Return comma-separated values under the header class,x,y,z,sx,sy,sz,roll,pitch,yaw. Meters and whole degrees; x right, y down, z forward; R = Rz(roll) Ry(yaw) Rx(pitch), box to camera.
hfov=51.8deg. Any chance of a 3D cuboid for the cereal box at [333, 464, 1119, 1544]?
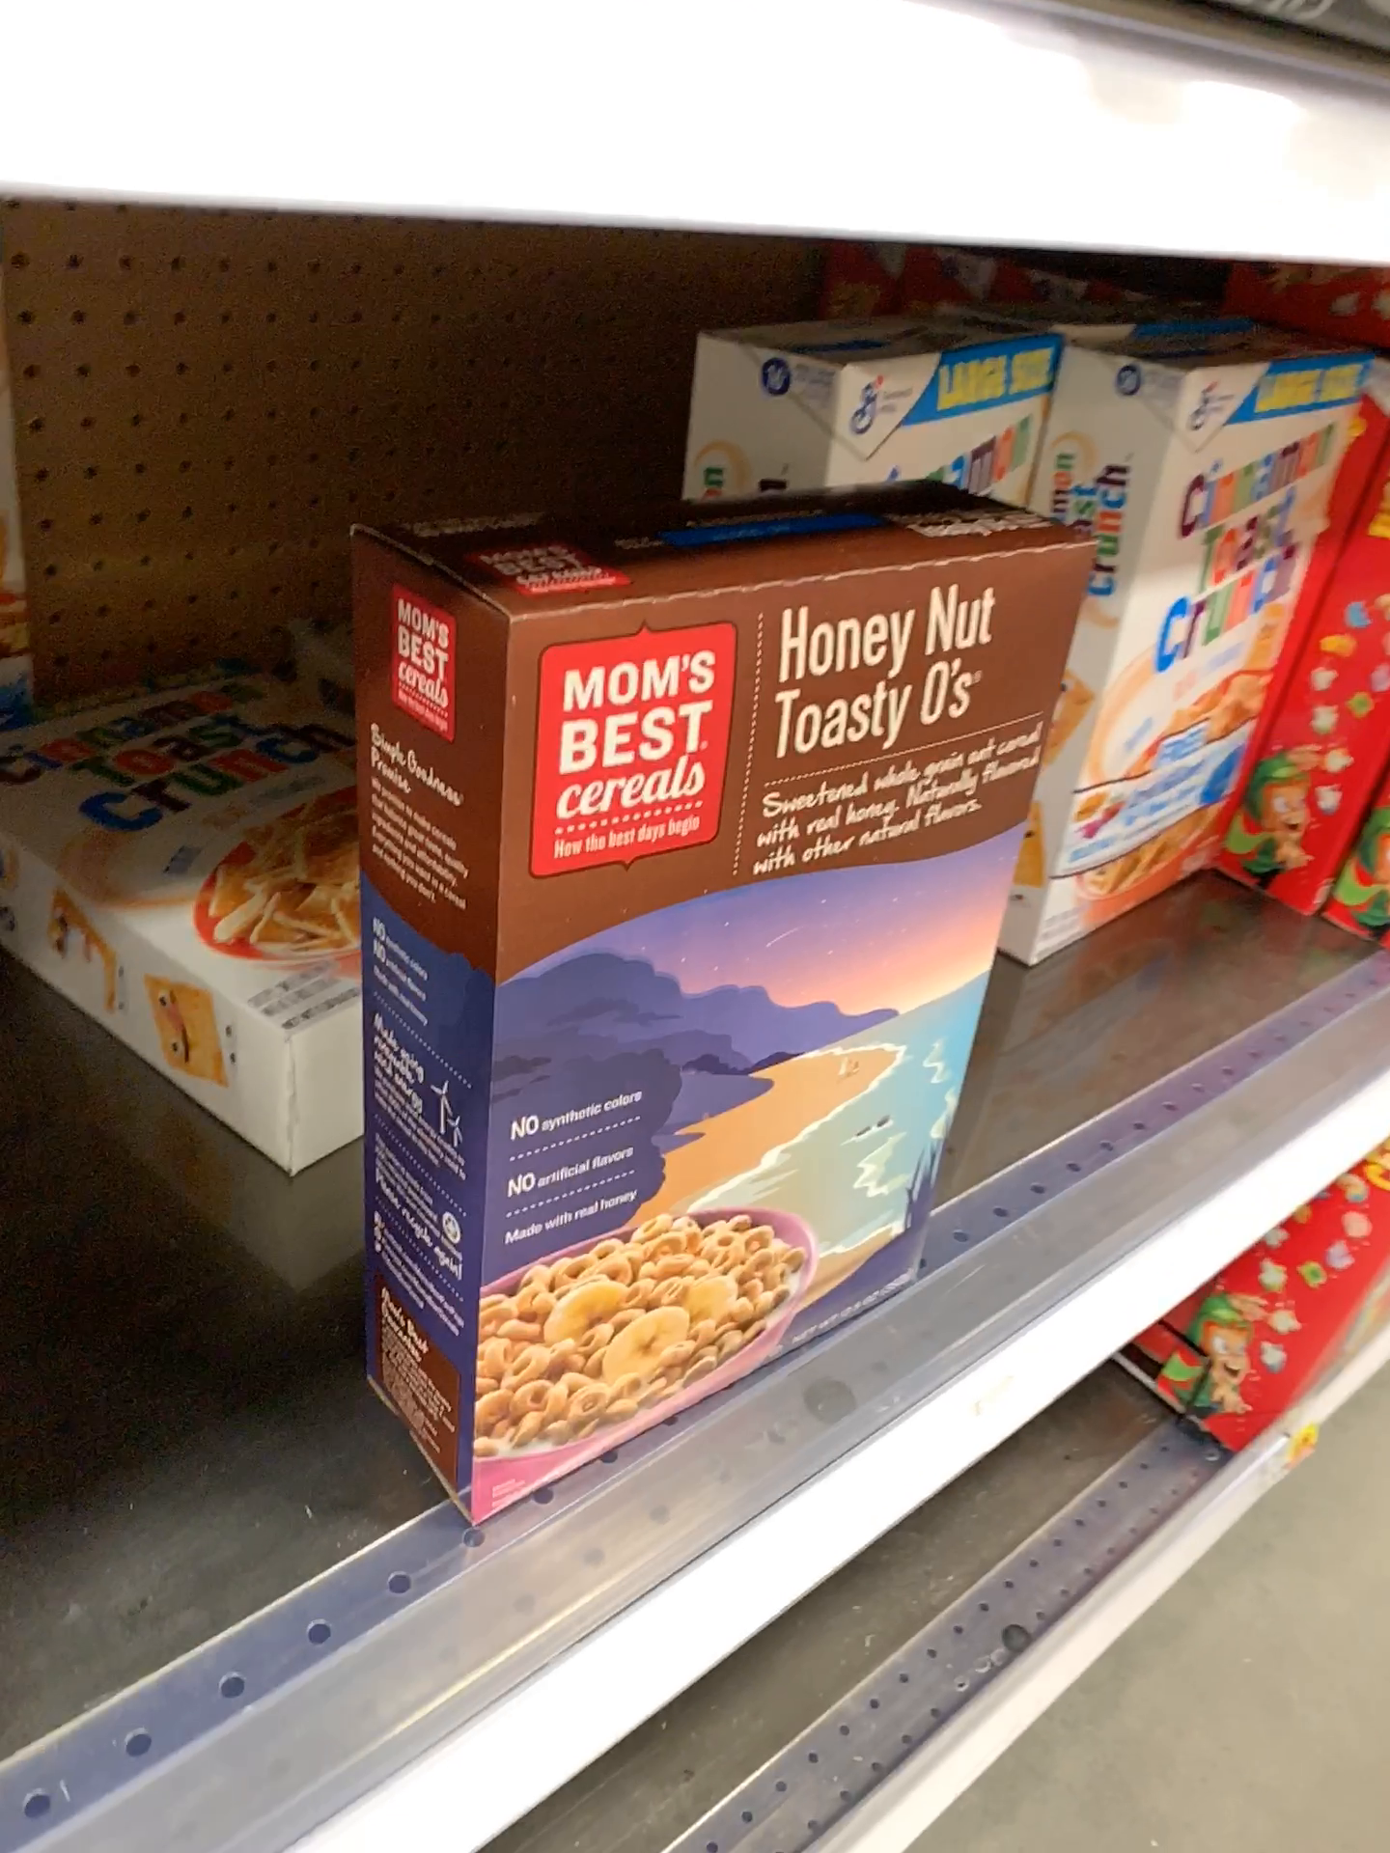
class,x,y,z,sx,sy,sz,roll,pitch,yaw
cereal box,0.003,0.019,0.428,0.201,0.279,0.070,-17,38,-36
